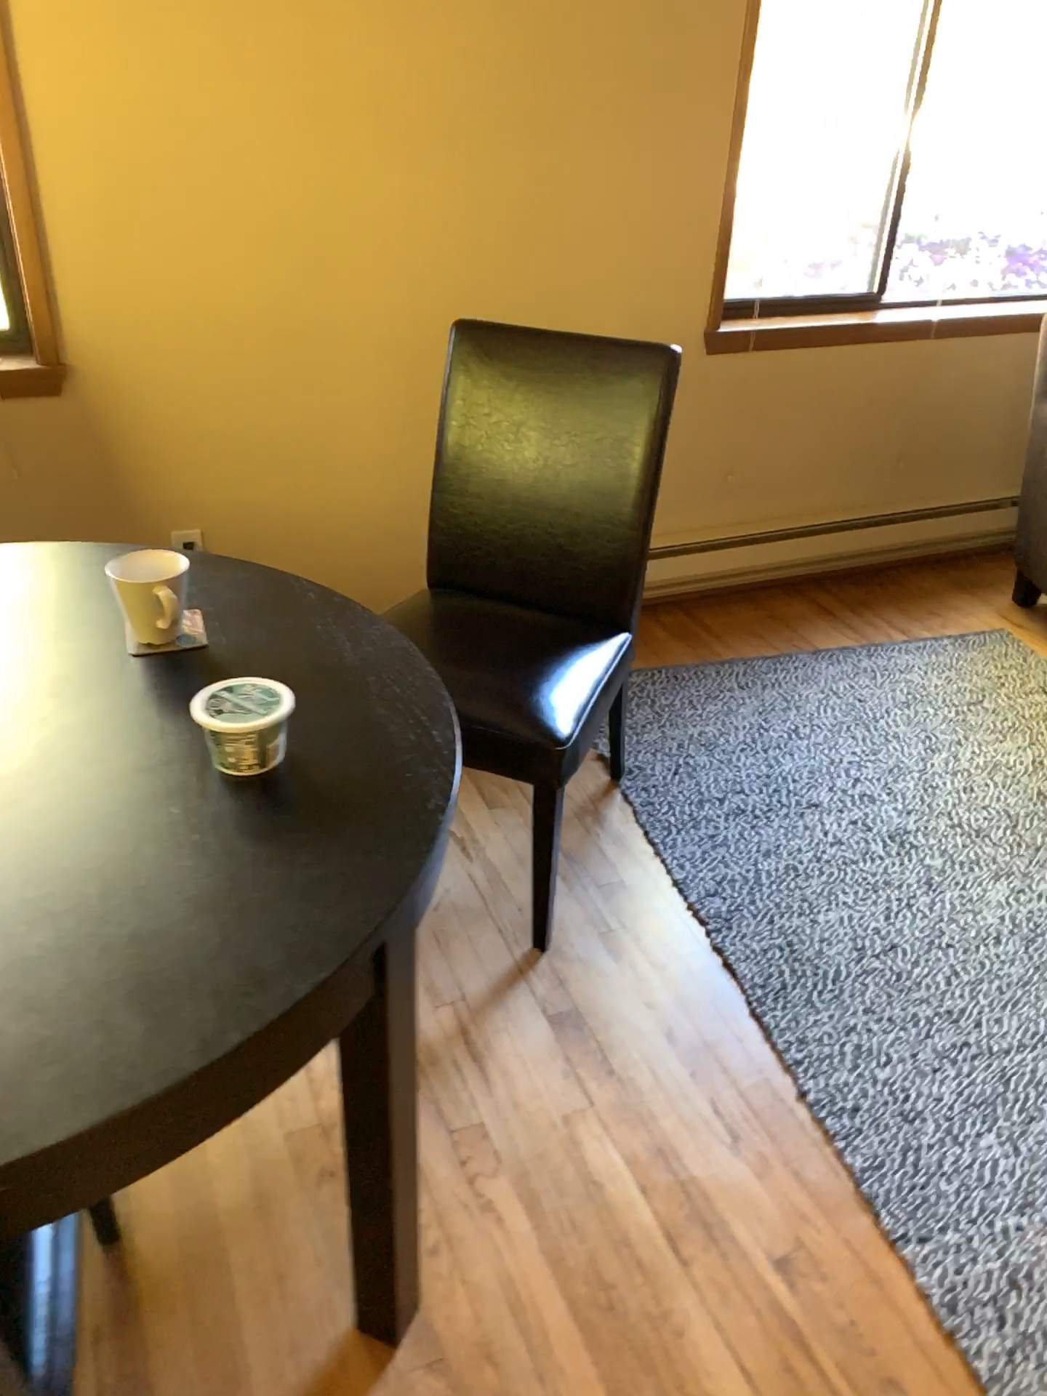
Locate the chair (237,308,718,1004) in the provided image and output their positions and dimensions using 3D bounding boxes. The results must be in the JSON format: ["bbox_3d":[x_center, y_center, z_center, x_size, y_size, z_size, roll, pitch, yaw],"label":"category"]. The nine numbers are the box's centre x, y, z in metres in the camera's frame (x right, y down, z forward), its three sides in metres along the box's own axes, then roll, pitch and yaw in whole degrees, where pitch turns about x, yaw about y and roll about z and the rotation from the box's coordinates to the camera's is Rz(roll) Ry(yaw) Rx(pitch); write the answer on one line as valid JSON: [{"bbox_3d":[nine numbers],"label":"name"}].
[{"bbox_3d":[-0.061,-0.106,2.099,0.621,1.083,0.653,13,32,16],"label":"chair"}]
